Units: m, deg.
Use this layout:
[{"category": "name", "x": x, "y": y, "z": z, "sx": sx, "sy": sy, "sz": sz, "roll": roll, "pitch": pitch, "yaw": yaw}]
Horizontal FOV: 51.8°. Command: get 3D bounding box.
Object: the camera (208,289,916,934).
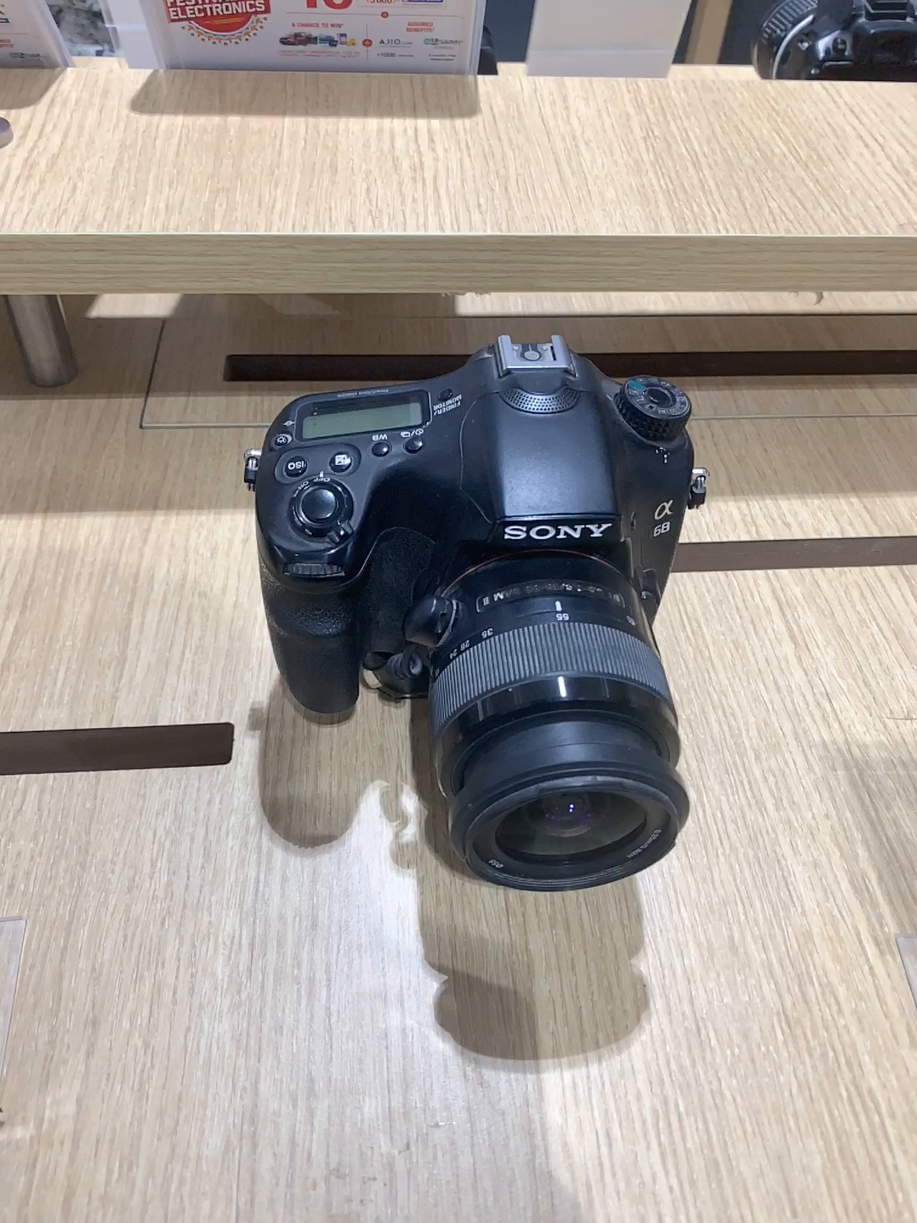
[{"category": "camera", "x": 0.017, "y": -0.006, "z": 0.272, "sx": 0.150, "sy": 0.100, "sz": 0.150, "roll": -2, "pitch": 49, "yaw": -6}]
